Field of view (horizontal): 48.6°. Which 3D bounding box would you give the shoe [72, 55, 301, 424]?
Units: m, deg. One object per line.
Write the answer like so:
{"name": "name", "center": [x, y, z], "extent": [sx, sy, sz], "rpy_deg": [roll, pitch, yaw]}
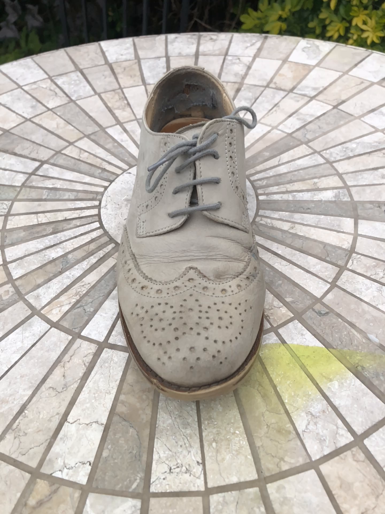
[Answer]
{"name": "shoe", "center": [-0.002, -0.035, 0.282], "extent": [0.090, 0.078, 0.258], "rpy_deg": [-2, 48, 1]}
